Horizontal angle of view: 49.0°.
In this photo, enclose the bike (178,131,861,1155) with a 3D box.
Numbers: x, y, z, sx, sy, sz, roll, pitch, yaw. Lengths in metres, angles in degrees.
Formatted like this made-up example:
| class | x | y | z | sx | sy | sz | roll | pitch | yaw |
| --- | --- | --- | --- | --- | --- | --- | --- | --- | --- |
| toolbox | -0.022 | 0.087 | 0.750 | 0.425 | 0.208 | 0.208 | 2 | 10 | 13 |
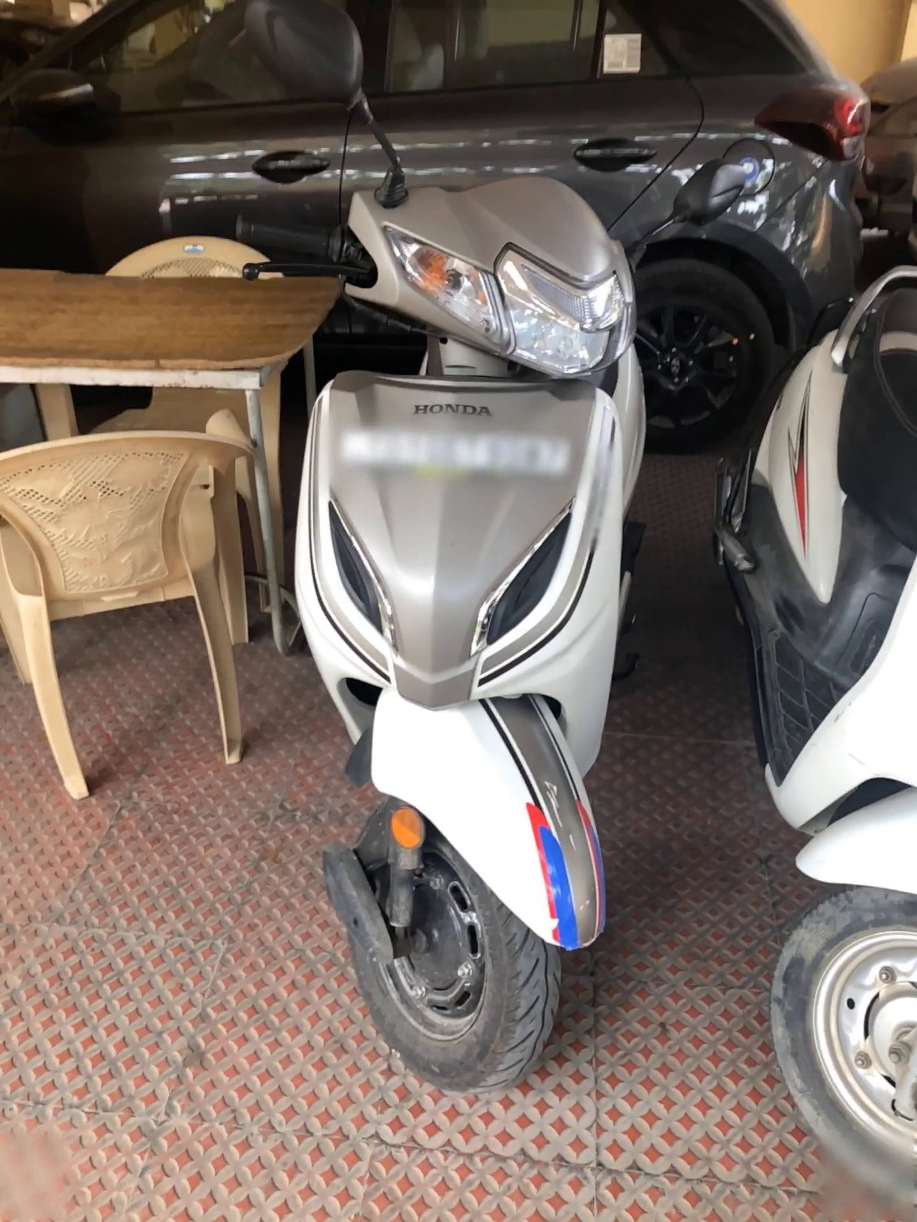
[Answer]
| class | x | y | z | sx | sy | sz | roll | pitch | yaw |
| --- | --- | --- | --- | --- | --- | --- | --- | --- | --- |
| bike | 0.086 | -0.130 | 1.701 | 0.626 | 0.849 | 1.465 | 2 | 38 | 3 |
